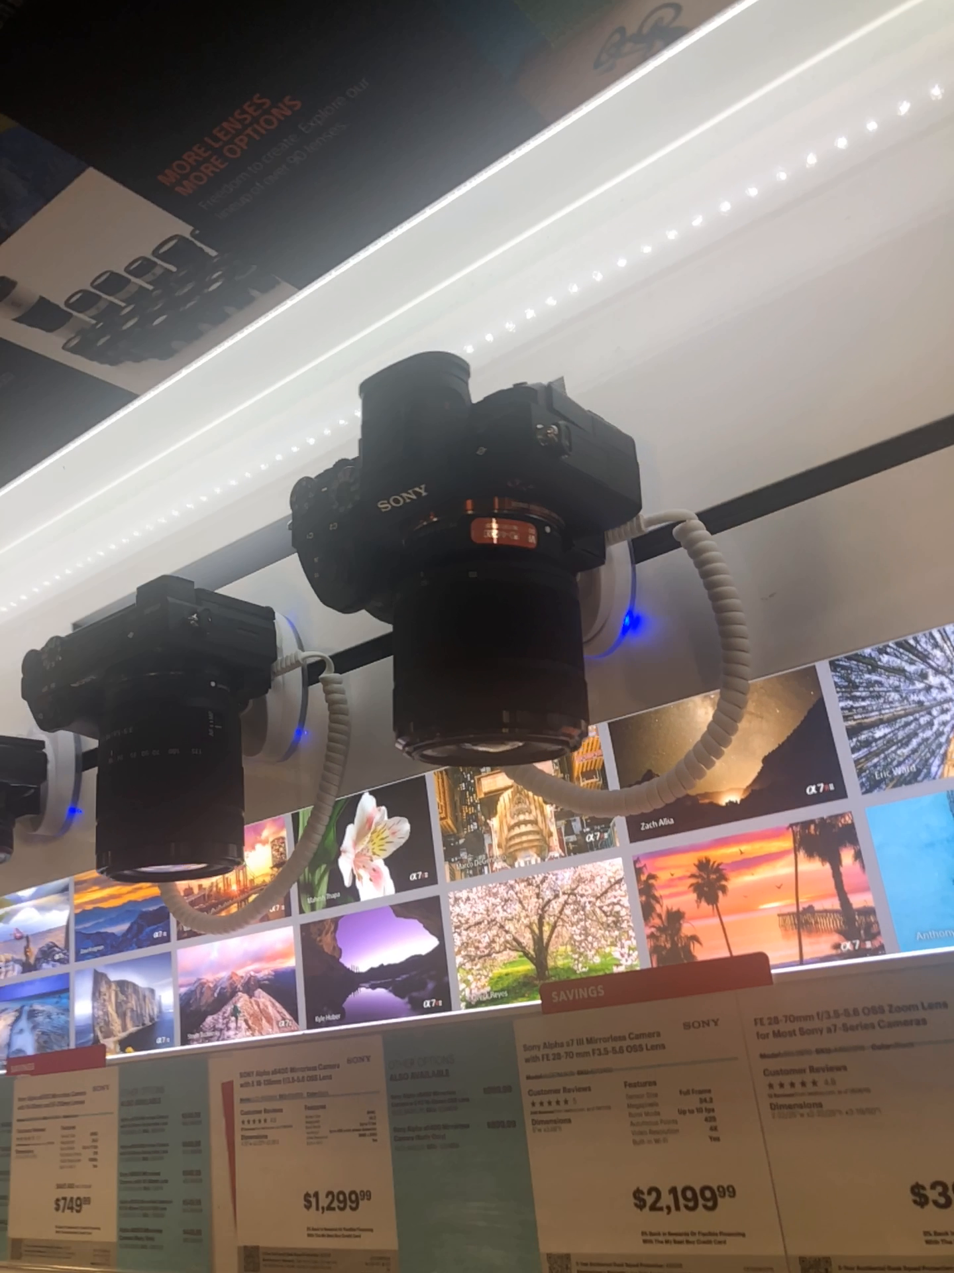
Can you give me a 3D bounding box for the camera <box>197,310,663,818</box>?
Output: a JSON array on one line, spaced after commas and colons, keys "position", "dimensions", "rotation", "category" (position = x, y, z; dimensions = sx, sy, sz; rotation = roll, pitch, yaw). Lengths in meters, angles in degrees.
[{"position": [-0.023, -0.015, 0.398], "dimensions": [0.140, 0.090, 0.140], "rotation": [-17, 69, 33], "category": "camera"}]
